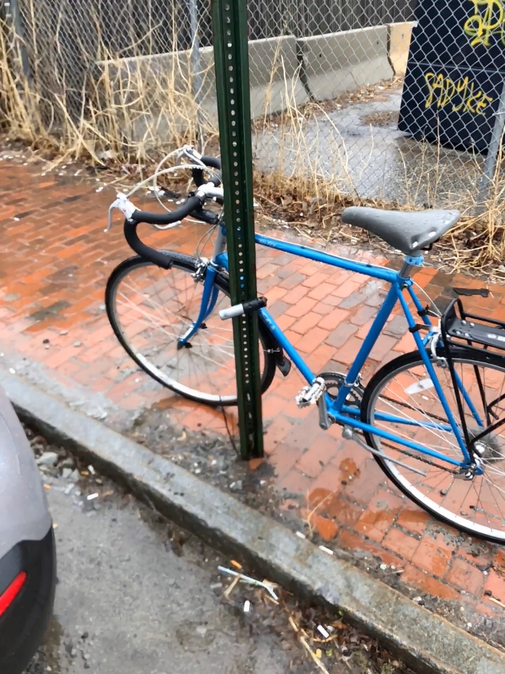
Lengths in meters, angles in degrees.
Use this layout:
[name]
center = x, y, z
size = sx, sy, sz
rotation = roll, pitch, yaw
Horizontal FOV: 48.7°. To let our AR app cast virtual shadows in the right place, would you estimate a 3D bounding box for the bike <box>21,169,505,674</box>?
[bike]
center = 0.151, 0.117, 1.825
size = 1.867, 0.919, 0.474
rotation = 19, 37, 27
